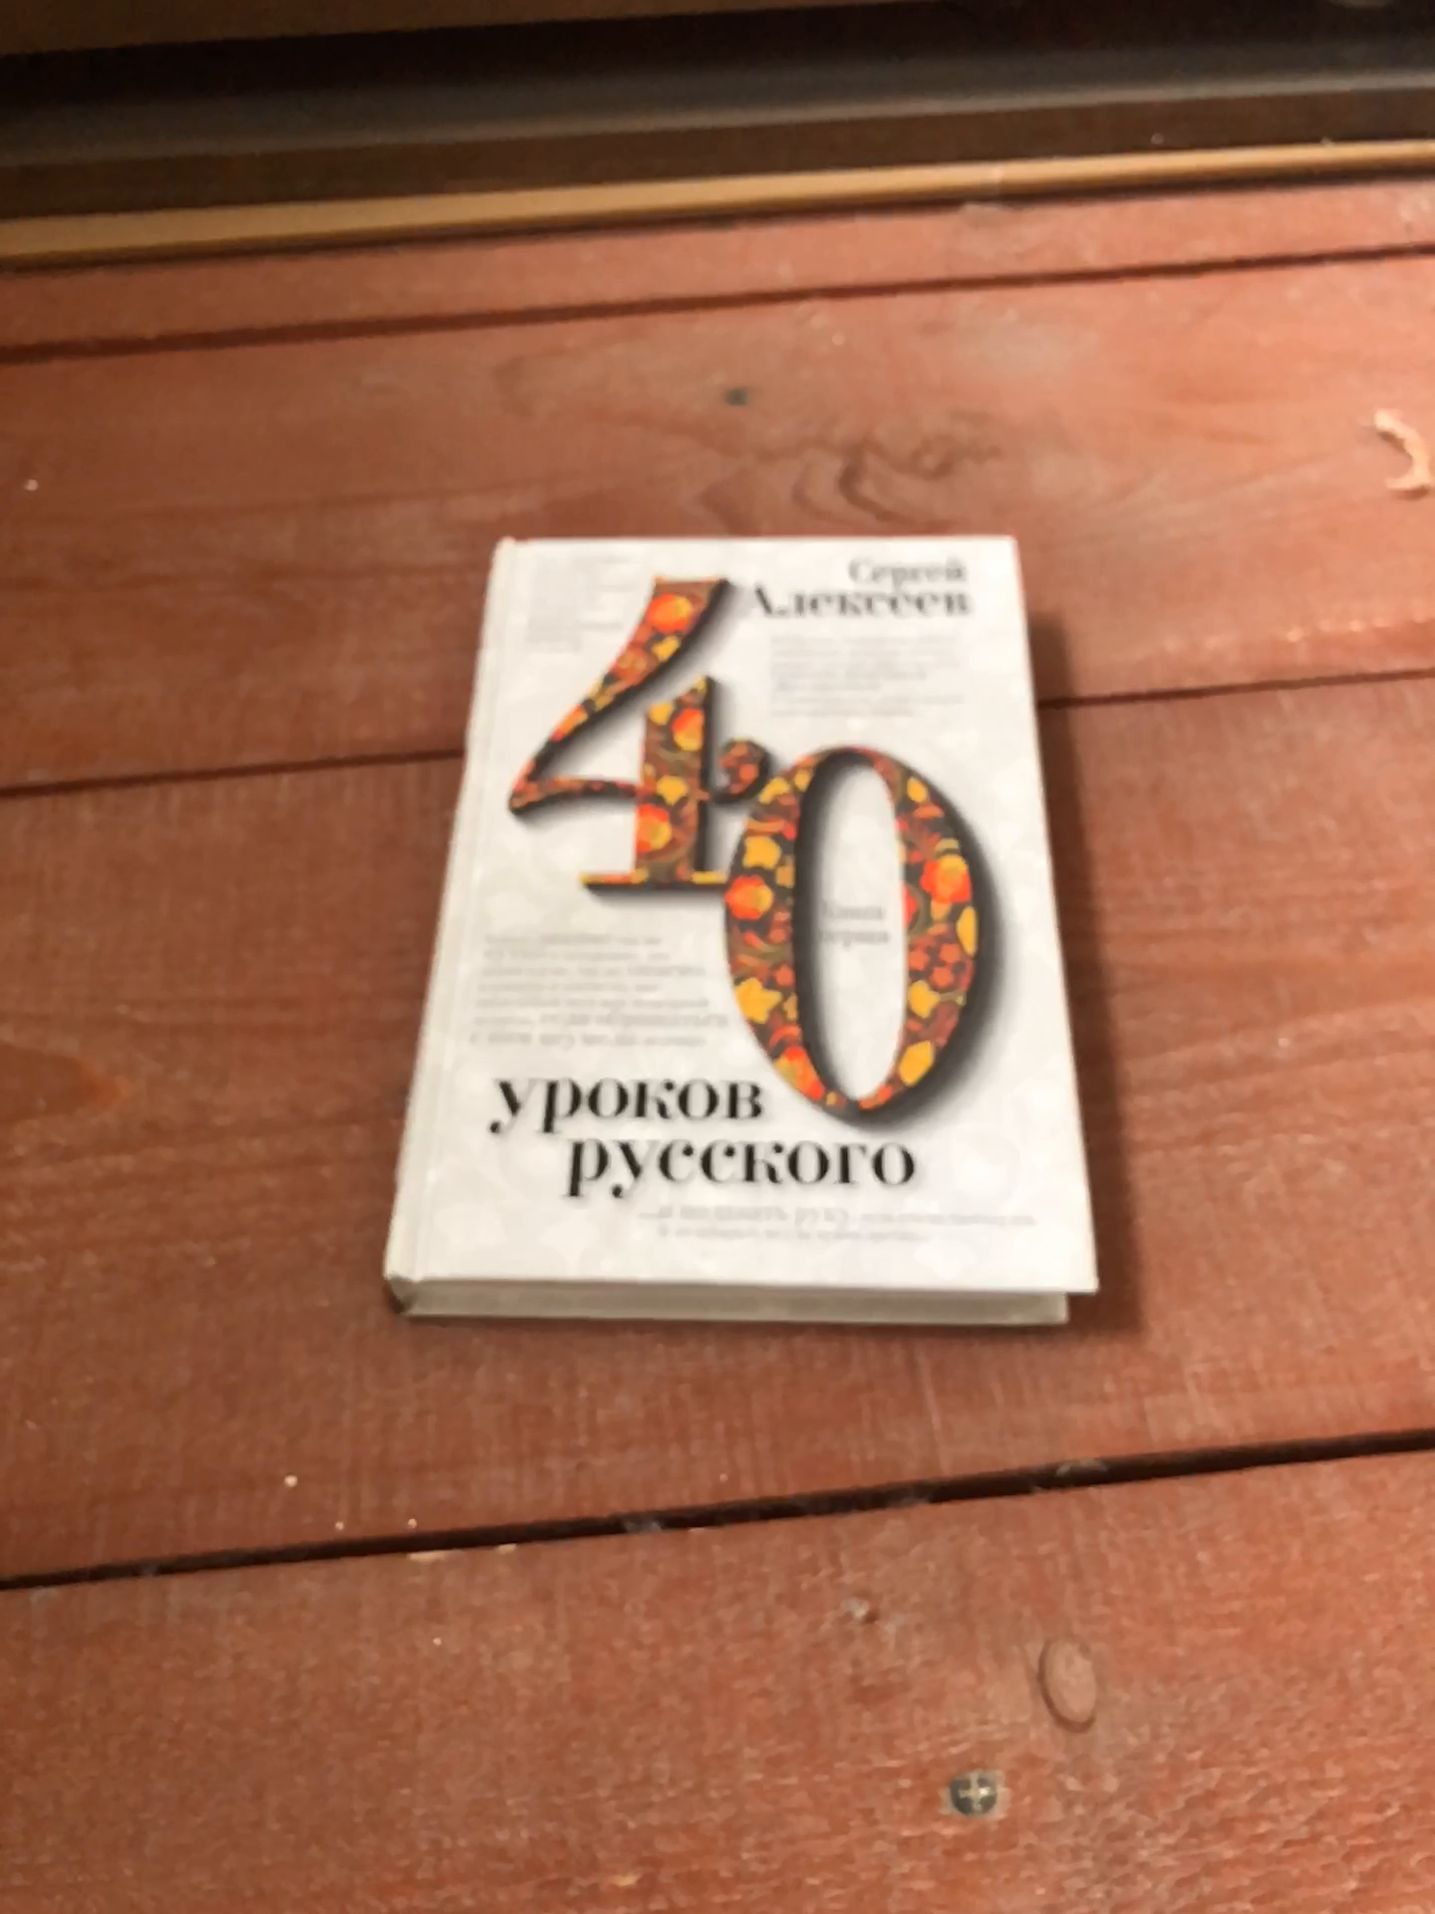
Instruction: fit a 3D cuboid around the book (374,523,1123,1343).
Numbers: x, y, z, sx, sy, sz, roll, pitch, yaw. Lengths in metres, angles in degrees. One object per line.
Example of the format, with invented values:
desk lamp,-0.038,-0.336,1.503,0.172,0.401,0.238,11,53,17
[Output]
book,0.008,-0.017,0.360,0.135,0.030,0.200,1,56,2
